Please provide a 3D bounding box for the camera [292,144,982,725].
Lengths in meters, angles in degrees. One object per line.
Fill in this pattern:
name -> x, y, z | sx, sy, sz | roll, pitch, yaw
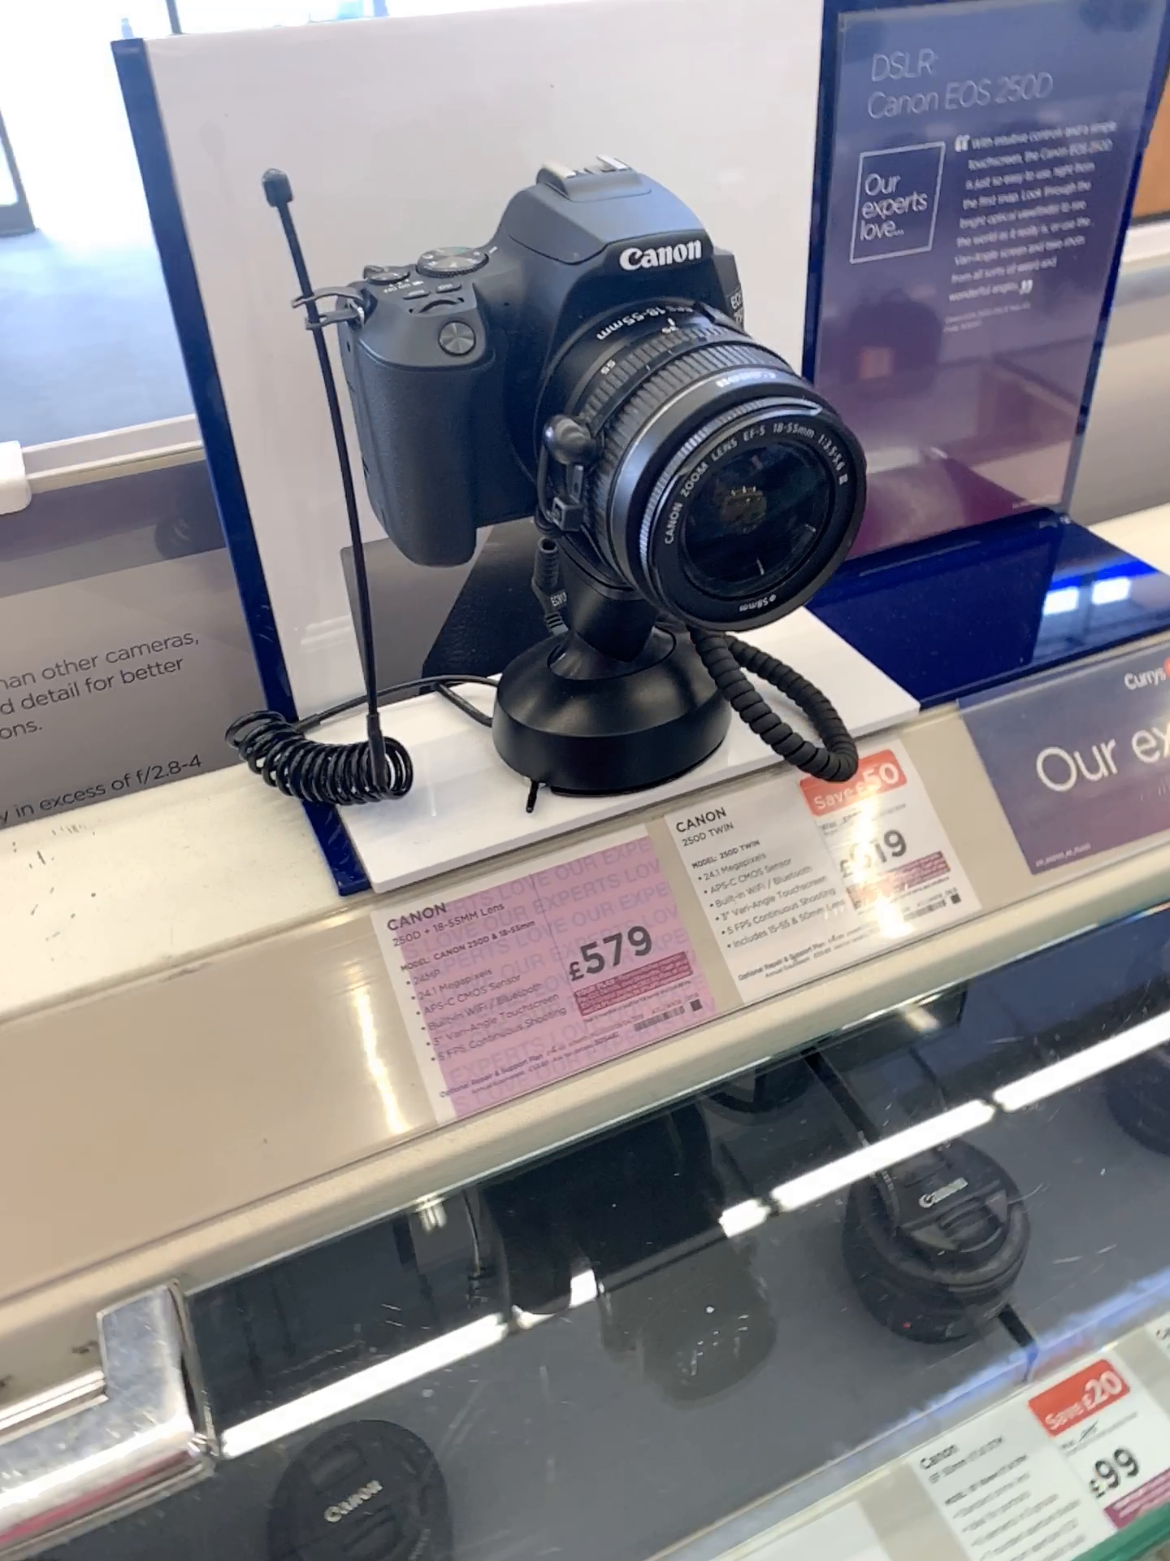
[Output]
camera -> 0.006, -0.104, 0.327 | 0.120, 0.089, 0.141 | -18, 41, -19
